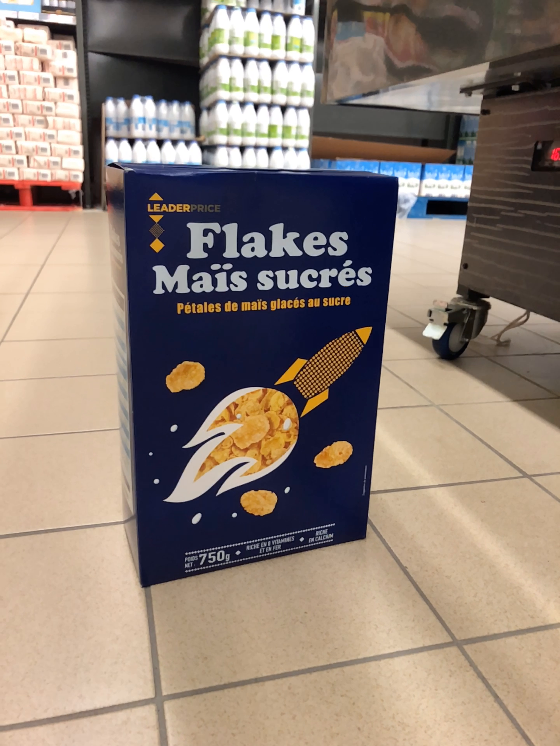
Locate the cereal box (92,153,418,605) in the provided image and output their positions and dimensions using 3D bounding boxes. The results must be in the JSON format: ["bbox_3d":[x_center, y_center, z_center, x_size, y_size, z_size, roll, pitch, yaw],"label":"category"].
[{"bbox_3d":[-0.027,-0.001,0.482,0.210,0.309,0.100,-4,18,-19],"label":"cereal box"}]
